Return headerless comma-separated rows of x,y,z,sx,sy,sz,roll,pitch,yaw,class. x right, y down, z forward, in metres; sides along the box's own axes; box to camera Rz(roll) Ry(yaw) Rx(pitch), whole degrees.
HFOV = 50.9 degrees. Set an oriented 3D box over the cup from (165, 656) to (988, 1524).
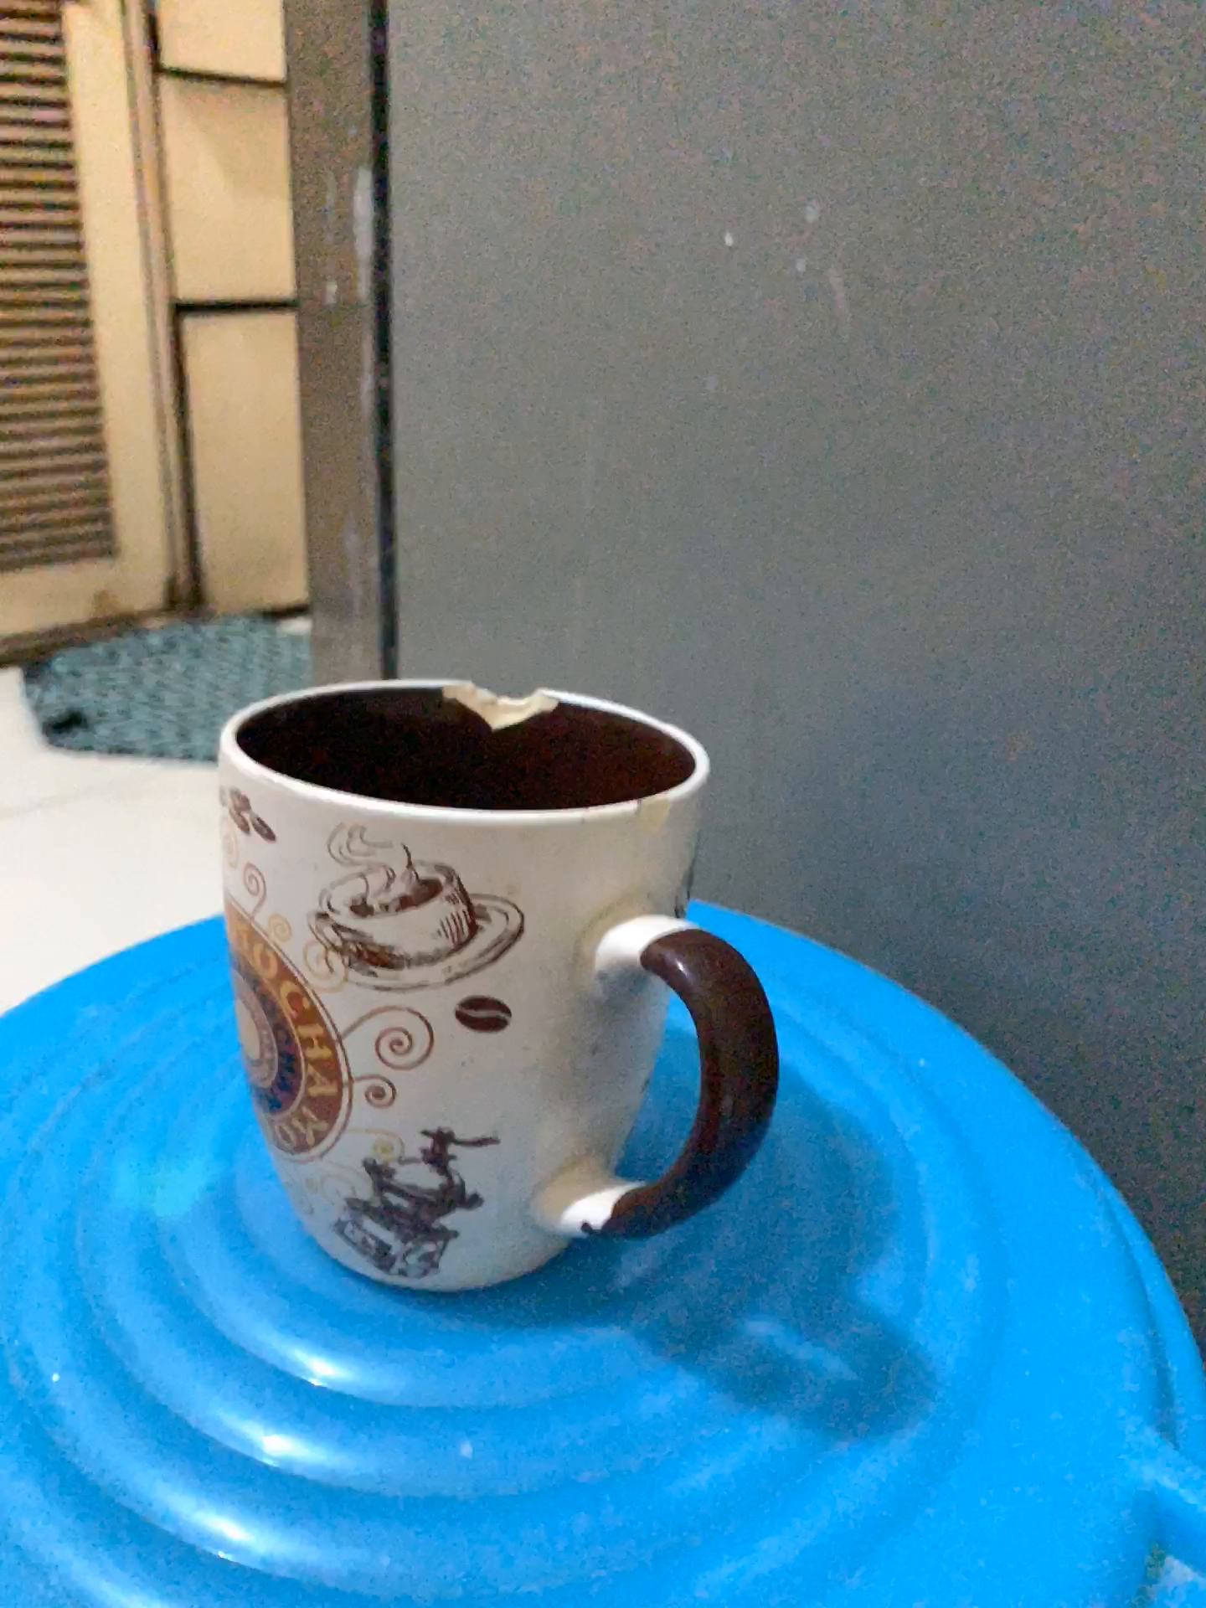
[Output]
-0.013,0.029,0.210,0.080,0.080,0.111,-9,23,-36,cup
